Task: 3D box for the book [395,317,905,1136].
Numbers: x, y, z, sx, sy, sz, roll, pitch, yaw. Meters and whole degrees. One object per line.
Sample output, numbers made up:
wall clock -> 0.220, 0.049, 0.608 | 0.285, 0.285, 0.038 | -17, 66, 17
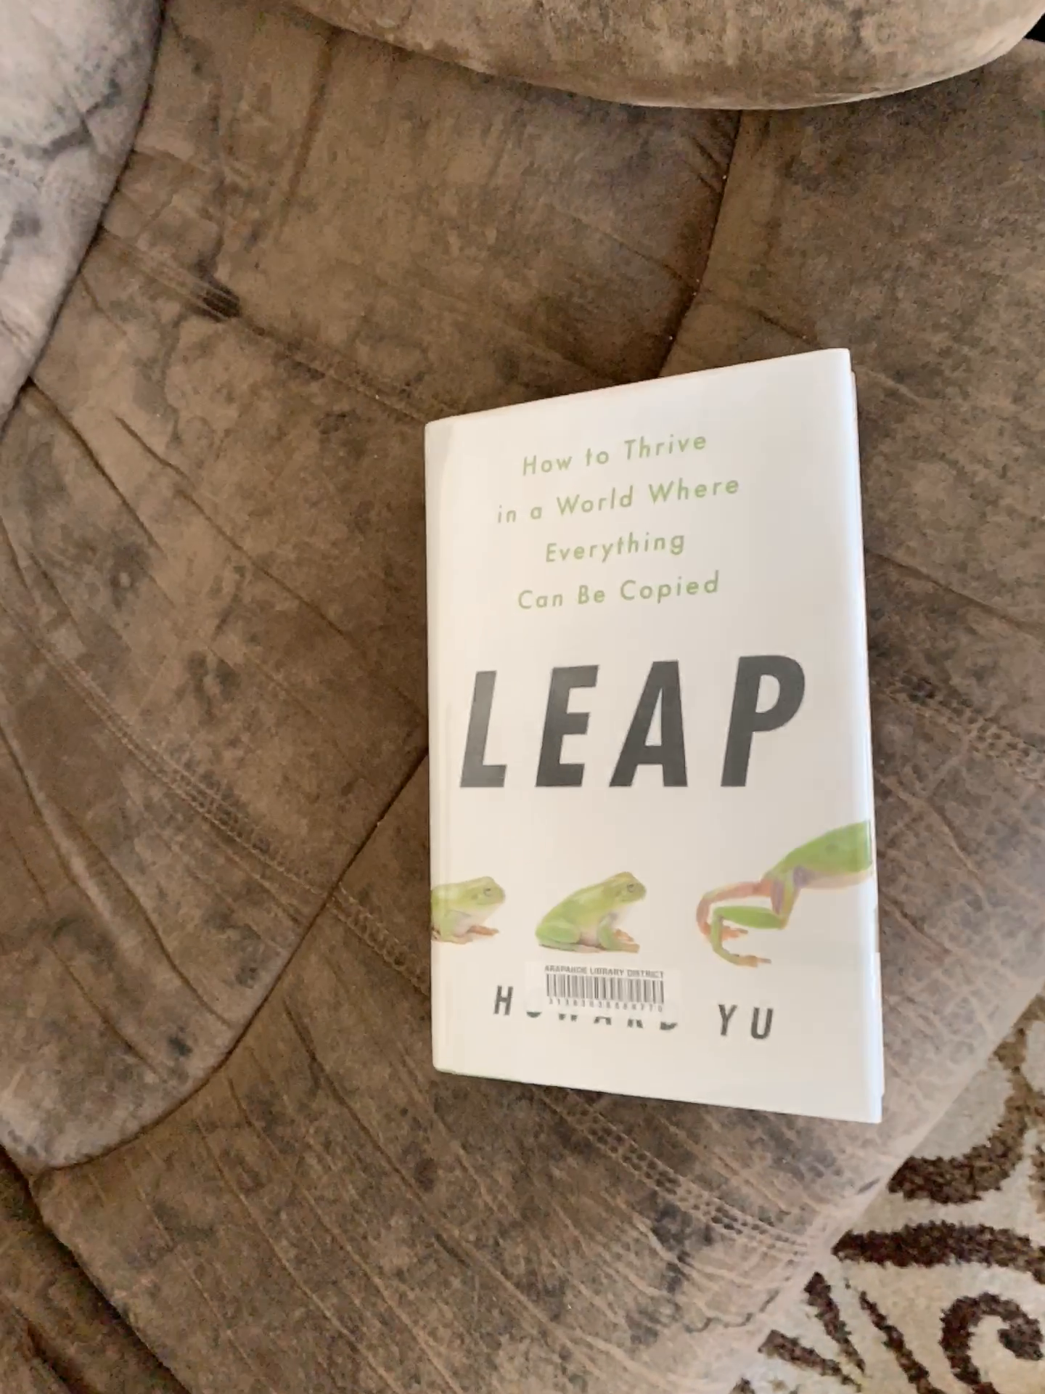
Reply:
book -> 0.036, 0.011, 0.364 | 0.160, 0.040, 0.235 | -4, 84, 28
